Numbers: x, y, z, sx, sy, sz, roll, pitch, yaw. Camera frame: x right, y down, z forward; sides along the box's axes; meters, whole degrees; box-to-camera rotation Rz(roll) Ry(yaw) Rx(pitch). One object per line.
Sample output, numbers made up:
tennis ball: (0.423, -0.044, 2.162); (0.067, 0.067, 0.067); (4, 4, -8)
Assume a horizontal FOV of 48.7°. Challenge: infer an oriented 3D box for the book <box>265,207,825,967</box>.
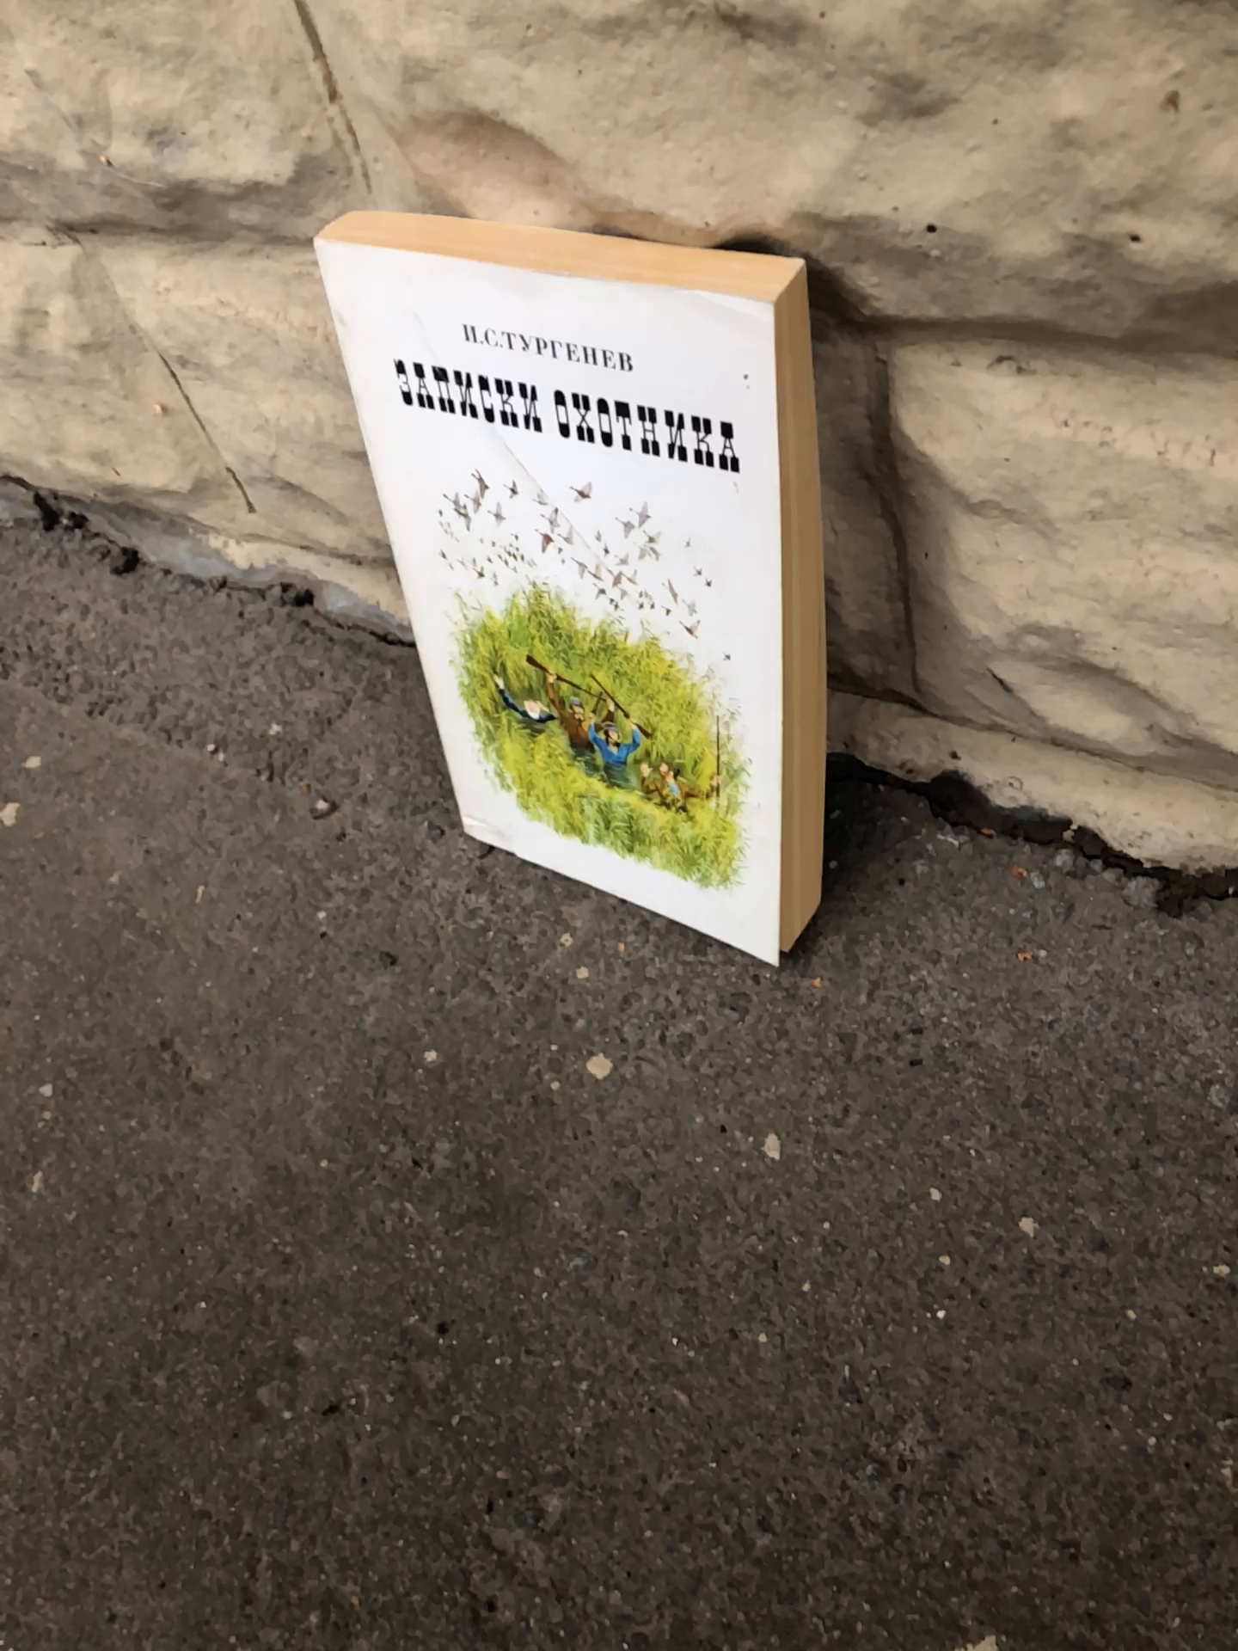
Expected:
book: (-0.014, -0.060, 0.370); (0.137, 0.183, 0.032); (20, 46, 29)
